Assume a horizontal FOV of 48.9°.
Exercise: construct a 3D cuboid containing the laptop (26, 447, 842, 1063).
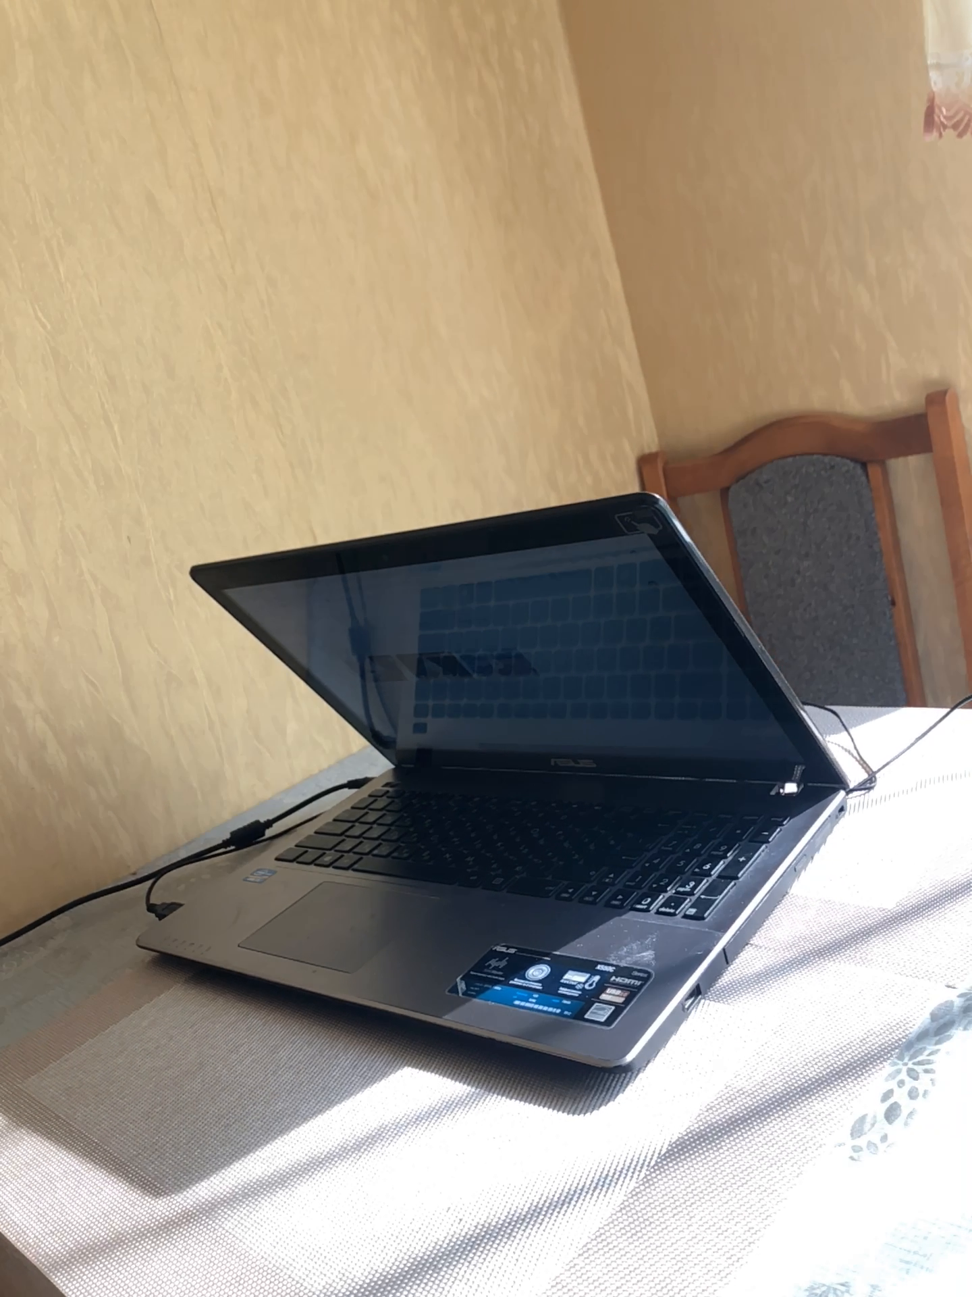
[{"bbox_3d":[-0.037,0.039,0.619,0.369,0.197,0.243,-4,18,42],"label":"laptop"}]
